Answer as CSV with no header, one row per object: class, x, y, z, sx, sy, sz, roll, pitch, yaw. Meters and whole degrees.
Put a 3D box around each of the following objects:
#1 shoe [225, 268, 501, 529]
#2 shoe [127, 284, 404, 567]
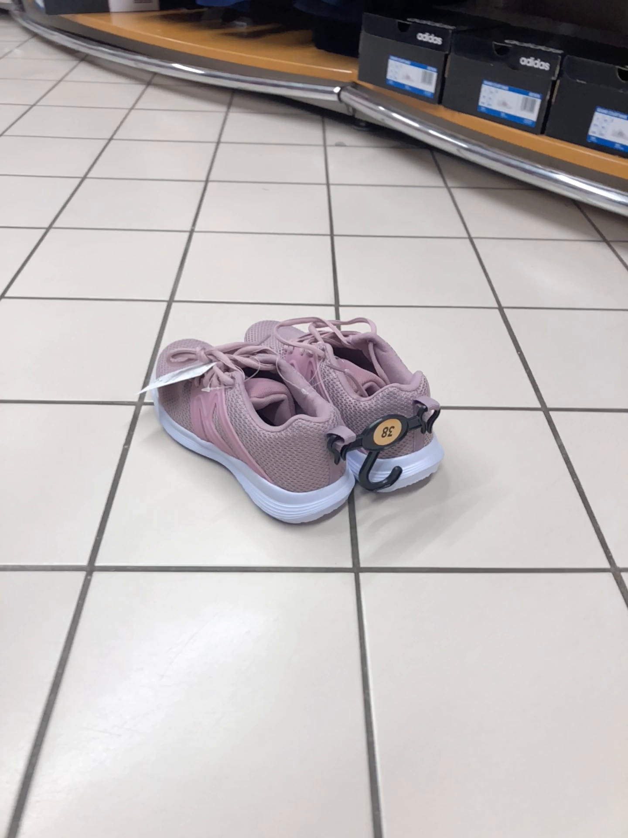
shoe,0.030,-0.033,0.632,0.100,0.092,0.261,-23,45,-28
shoe,-0.053,-0.010,0.609,0.103,0.099,0.260,-24,46,-29
